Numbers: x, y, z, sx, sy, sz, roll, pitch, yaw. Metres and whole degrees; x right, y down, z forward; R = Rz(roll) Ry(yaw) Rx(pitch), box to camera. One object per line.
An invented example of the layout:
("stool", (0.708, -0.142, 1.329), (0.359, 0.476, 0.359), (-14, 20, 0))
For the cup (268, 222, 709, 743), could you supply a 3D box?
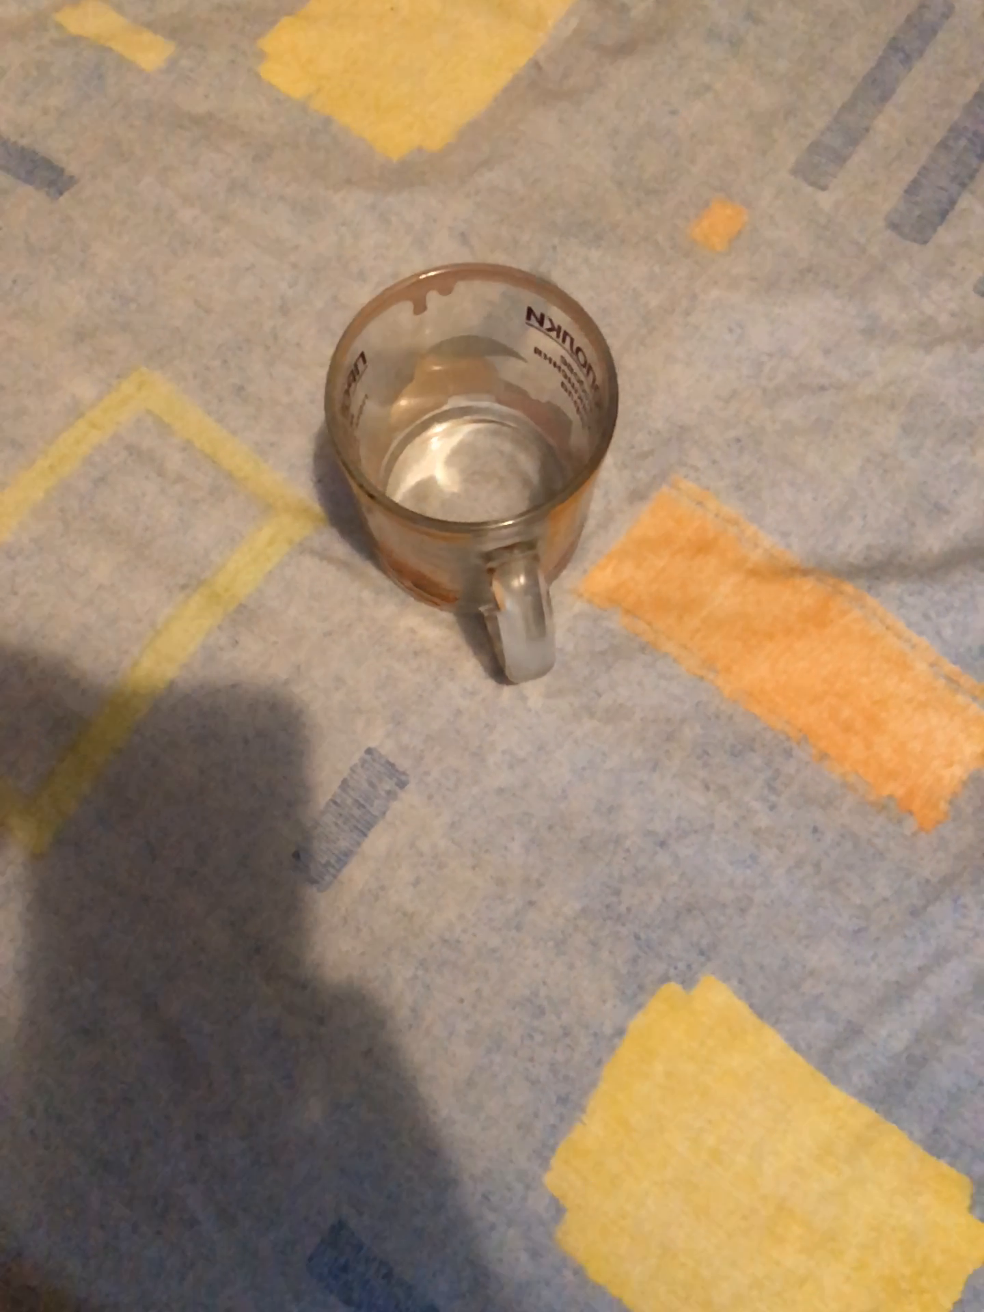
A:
("cup", (-0.003, -0.046, 0.332), (0.084, 0.092, 0.110), (-20, 78, -5))
